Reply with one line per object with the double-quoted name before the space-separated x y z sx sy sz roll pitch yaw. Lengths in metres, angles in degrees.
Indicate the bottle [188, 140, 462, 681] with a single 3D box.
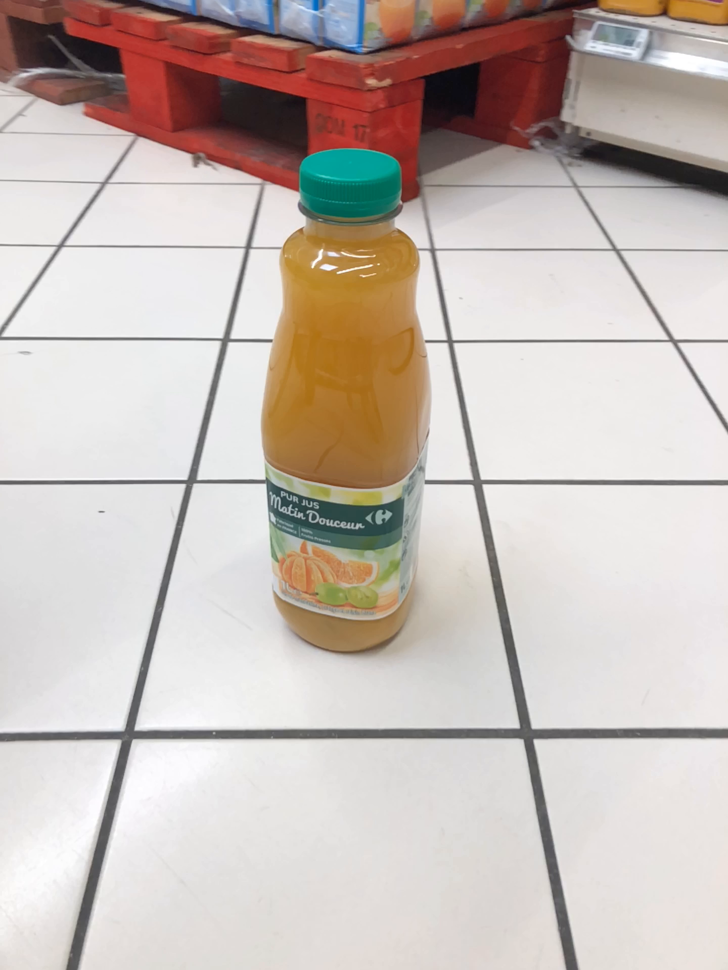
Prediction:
"bottle" -0.013 -0.026 0.389 0.080 0.239 0.091 13 40 15
